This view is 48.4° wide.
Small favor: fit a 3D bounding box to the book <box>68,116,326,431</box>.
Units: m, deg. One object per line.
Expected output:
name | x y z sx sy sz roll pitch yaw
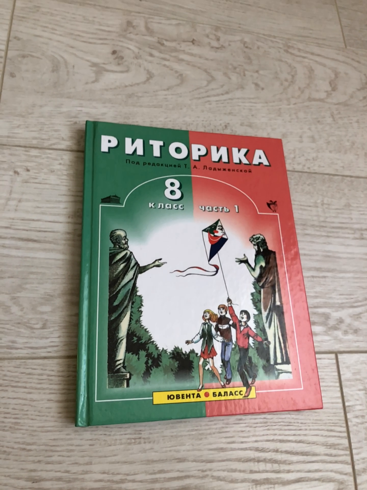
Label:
book | 0.006 0.010 0.307 0.171 0.020 0.223 1 70 -14
